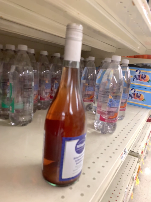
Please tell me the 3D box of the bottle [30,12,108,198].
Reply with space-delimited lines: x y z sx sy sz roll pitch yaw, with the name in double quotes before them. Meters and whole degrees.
"bottle" -0.018 0.012 0.294 0.080 0.299 0.090 17 17 35
